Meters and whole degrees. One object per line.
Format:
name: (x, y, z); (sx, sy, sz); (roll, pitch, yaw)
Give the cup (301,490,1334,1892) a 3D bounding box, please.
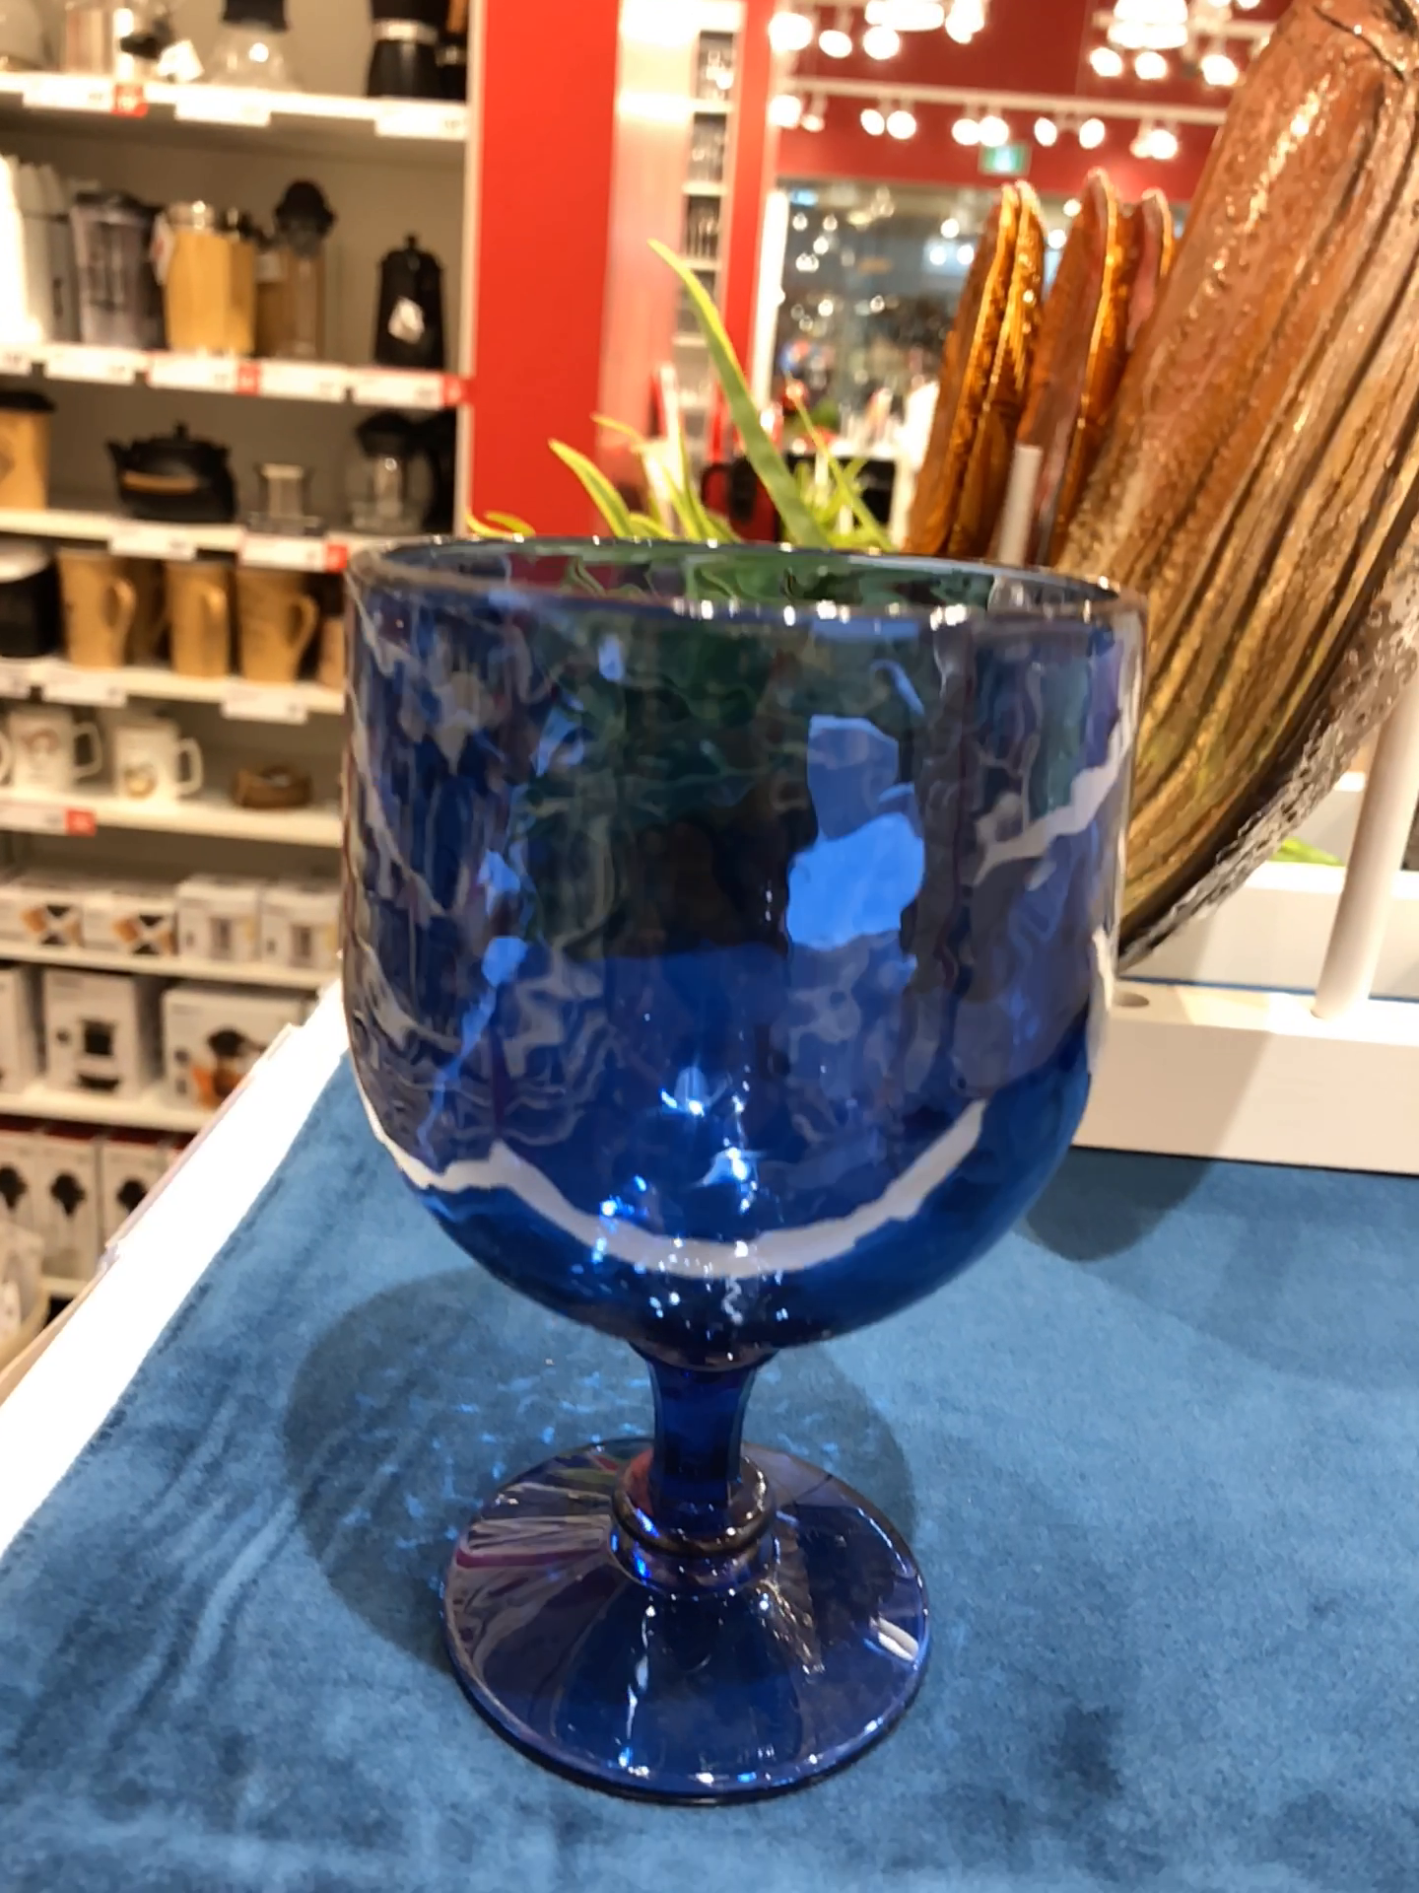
cup: (0.000, 0.022, 0.192); (0.090, 0.140, 0.080); (-1, 19, -12)
